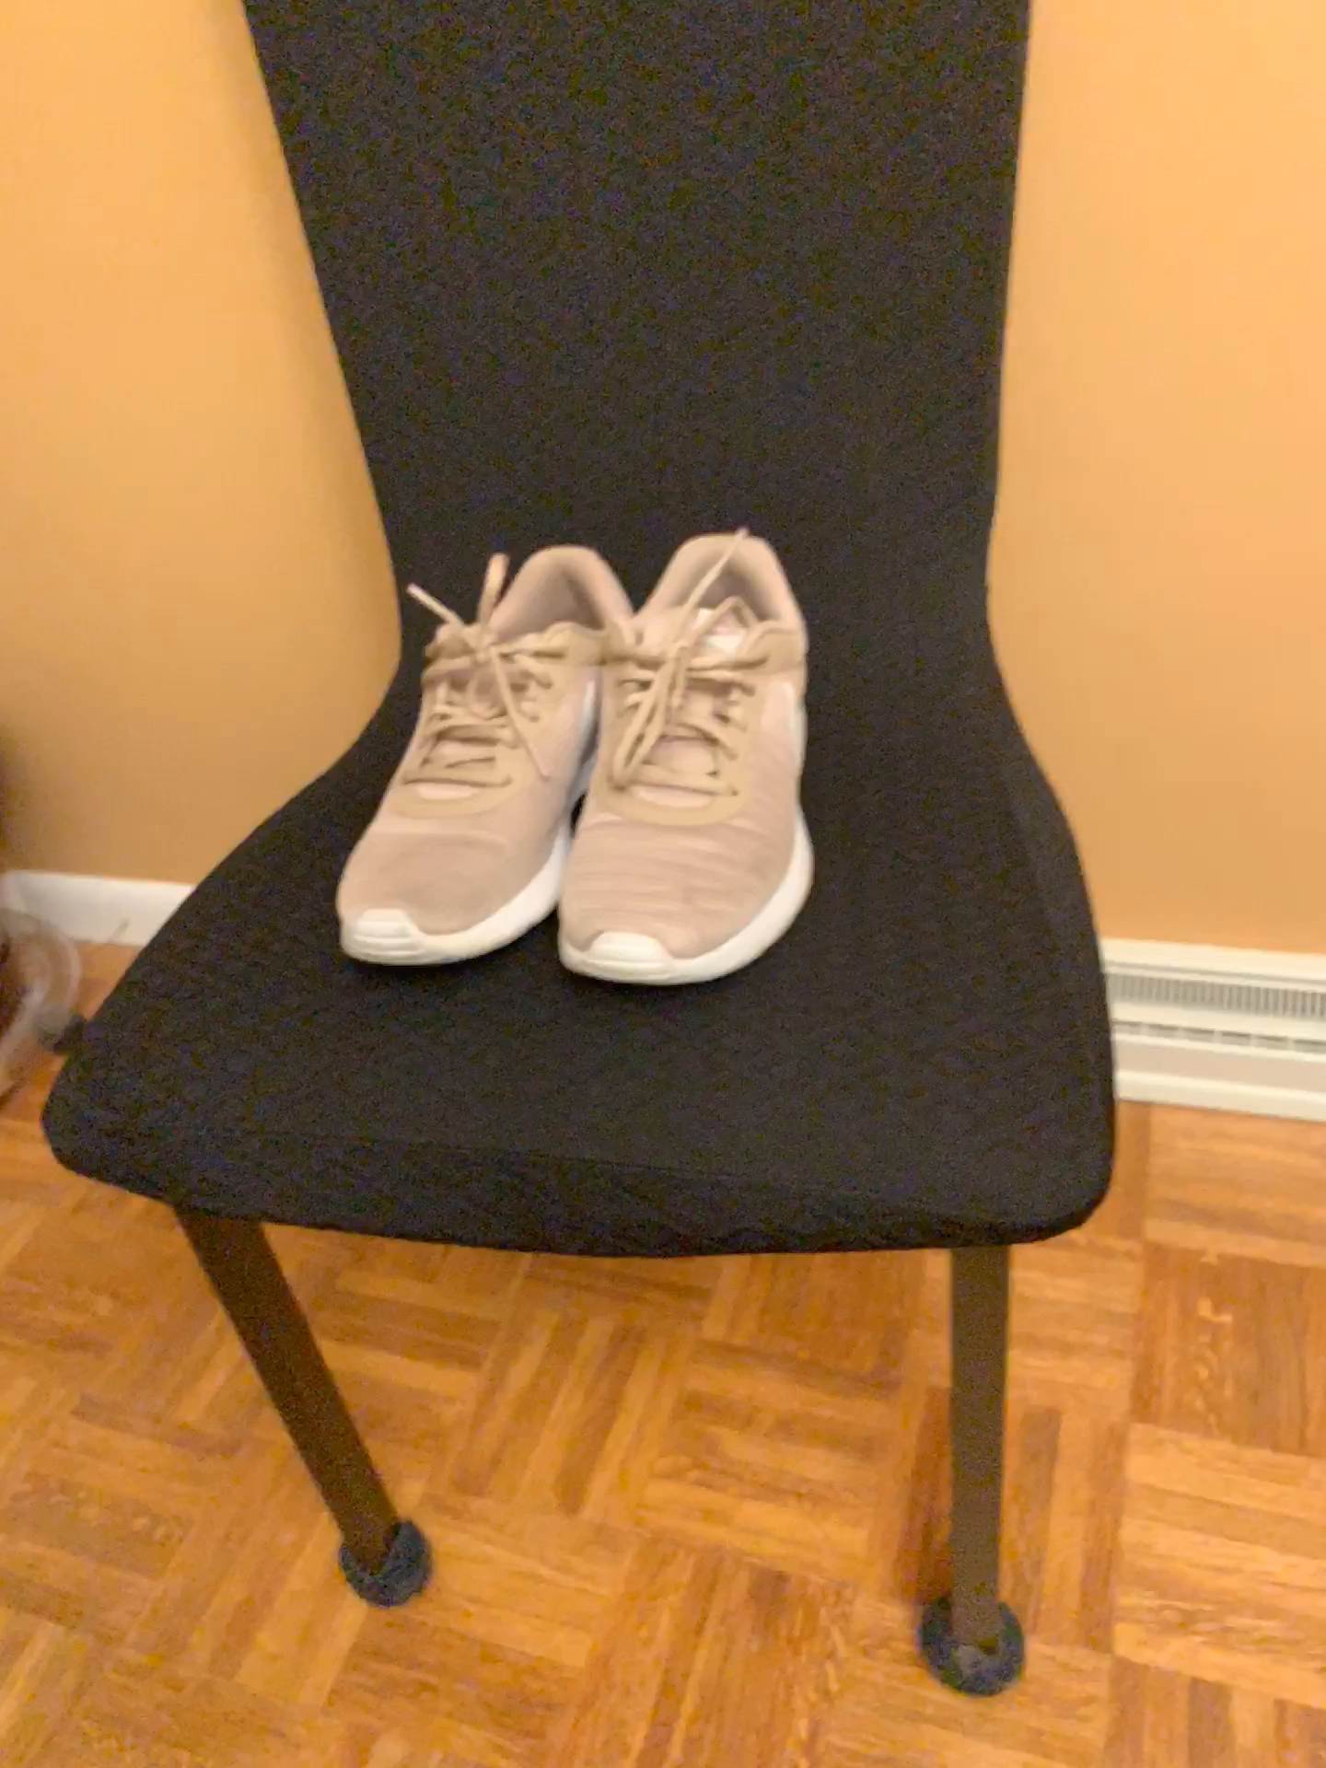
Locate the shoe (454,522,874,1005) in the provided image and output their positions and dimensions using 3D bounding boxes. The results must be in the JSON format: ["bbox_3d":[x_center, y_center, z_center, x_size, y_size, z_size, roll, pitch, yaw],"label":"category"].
[{"bbox_3d":[0.017,-0.070,0.635,0.110,0.089,0.261,4,38,19],"label":"shoe"}]

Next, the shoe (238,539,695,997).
[{"bbox_3d":[-0.080,-0.072,0.686,0.110,0.089,0.271,4,38,19],"label":"shoe"}]
